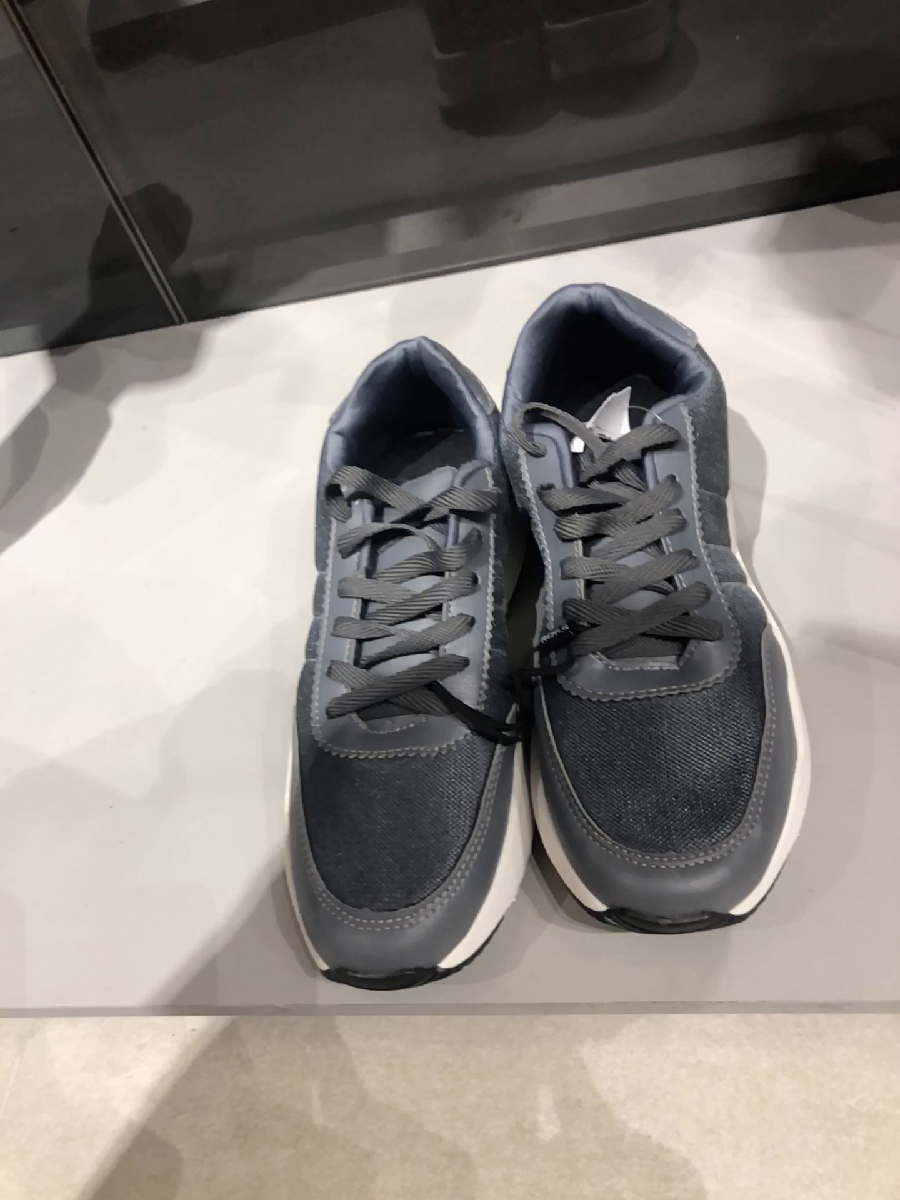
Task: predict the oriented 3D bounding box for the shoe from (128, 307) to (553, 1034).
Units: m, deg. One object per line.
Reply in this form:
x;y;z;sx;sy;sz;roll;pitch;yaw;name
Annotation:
-0.022;0.015;0.408;0.110;0.099;0.282;-7;50;13;shoe

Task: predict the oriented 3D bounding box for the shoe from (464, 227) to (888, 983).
0.072;-0.014;0.389;0.110;0.099;0.282;-9;50;12;shoe
